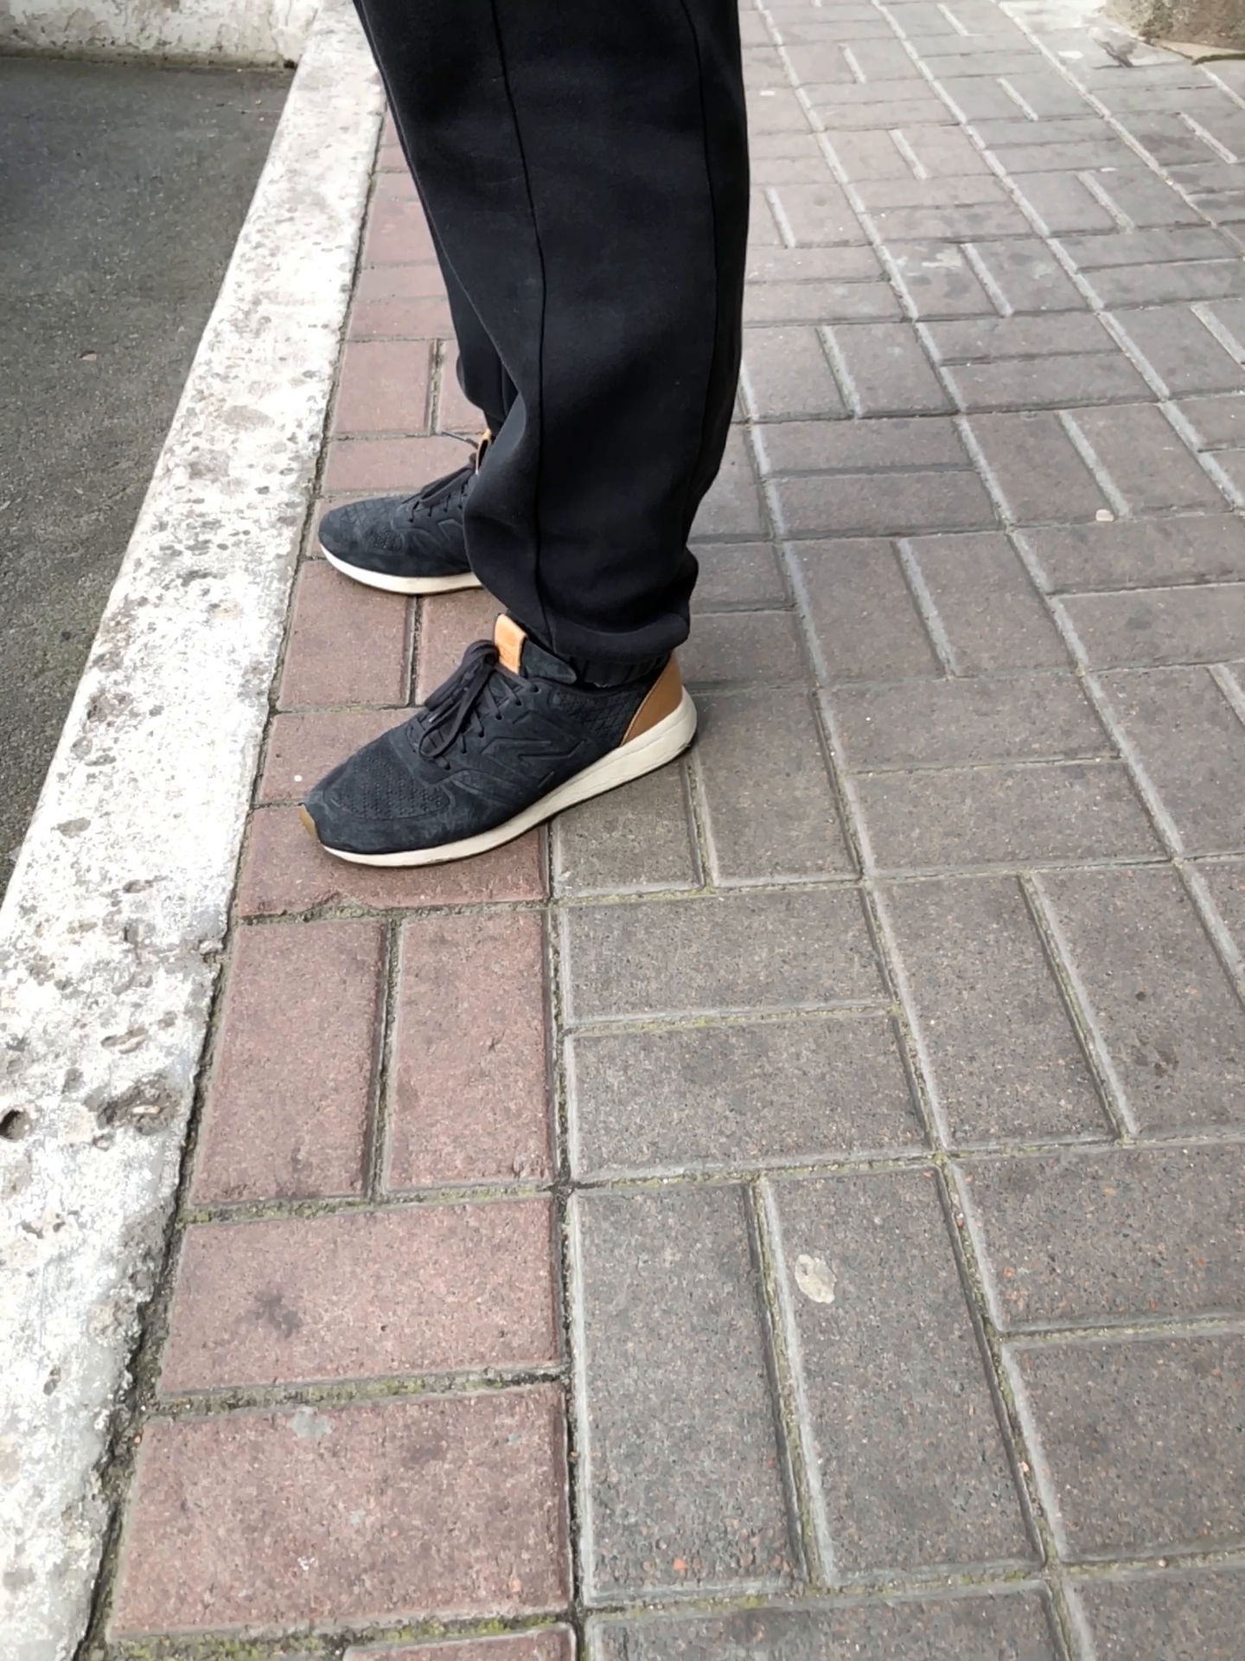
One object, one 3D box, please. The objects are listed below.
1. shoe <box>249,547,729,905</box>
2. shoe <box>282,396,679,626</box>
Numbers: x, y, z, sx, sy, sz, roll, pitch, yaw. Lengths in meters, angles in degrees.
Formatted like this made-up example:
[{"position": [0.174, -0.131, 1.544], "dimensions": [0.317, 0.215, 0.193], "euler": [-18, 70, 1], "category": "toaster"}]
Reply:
[{"position": [-0.080, -0.074, 0.884], "dimensions": [0.281, 0.109, 0.105], "euler": [-22, 48, -22], "category": "shoe"}, {"position": [-0.104, -0.250, 1.059], "dimensions": [0.280, 0.109, 0.105], "euler": [8, 44, 7], "category": "shoe"}]
